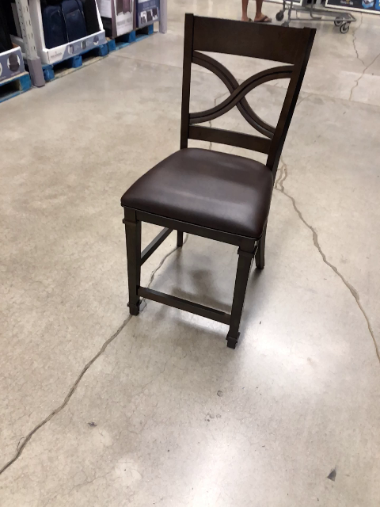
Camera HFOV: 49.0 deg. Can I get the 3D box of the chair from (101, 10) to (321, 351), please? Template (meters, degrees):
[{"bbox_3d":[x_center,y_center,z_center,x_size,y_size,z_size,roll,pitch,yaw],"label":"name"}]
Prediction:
[{"bbox_3d":[0.091,-0.265,1.599,0.490,1.027,0.652,15,42,14],"label":"chair"}]
